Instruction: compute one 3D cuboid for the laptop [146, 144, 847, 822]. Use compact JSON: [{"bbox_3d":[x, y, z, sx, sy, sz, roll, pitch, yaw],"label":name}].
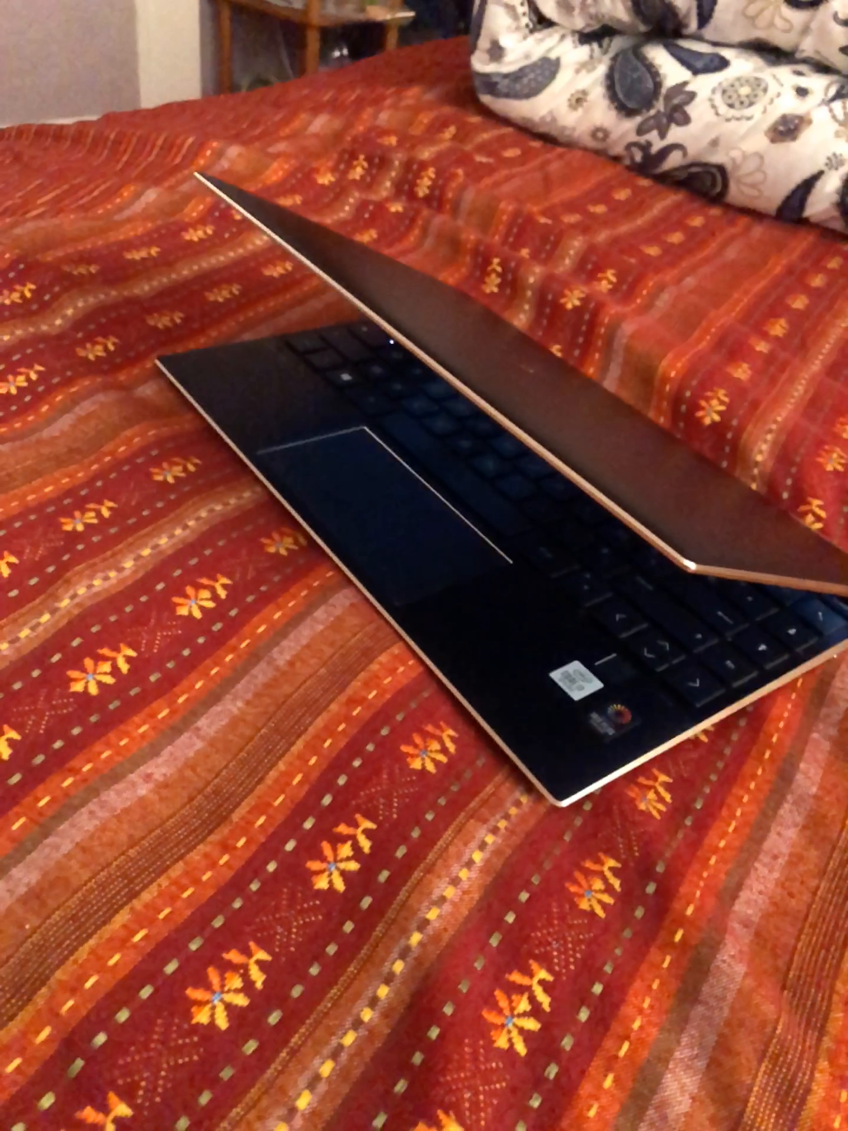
[{"bbox_3d":[0.034,-0.085,0.408,0.203,0.101,0.326,-17,44,-34],"label":"laptop"}]
